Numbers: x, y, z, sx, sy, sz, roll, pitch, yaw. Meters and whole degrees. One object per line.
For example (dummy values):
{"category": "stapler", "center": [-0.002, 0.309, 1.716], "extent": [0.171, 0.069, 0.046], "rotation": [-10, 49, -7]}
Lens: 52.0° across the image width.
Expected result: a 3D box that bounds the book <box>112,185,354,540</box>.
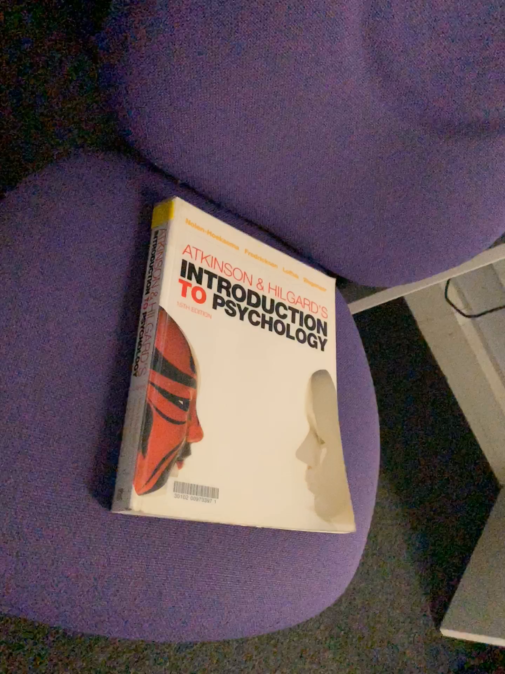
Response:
{"category": "book", "center": [0.000, 0.028, 0.482], "extent": [0.223, 0.035, 0.284], "rotation": [21, 58, -35]}
